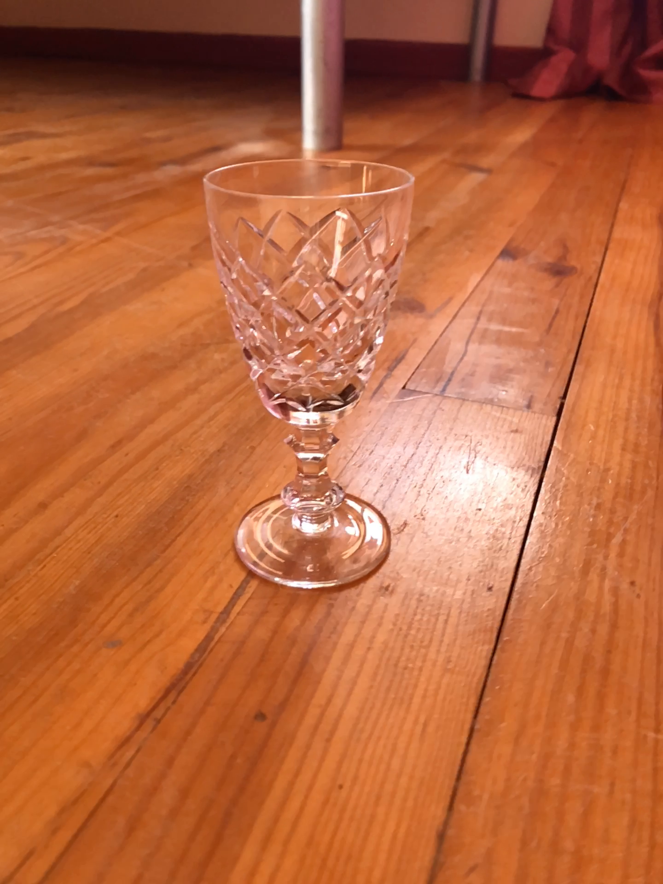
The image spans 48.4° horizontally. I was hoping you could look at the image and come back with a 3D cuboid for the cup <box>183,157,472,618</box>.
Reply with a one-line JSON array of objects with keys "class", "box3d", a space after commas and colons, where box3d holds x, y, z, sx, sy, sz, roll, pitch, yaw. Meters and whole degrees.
[{"class": "cup", "box3d": [-0.005, -0.017, 0.212, 0.059, 0.113, 0.057, 1, 28, 0]}]
